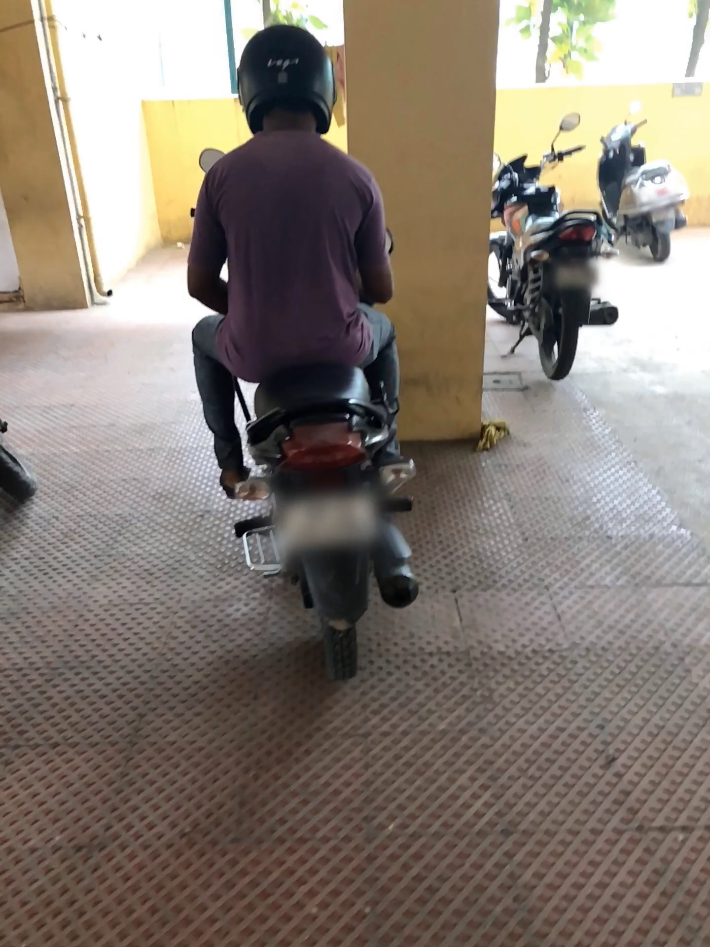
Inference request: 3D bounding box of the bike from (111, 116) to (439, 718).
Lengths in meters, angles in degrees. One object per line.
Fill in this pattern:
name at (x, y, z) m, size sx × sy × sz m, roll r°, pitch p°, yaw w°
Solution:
bike at (-0.125, -0.356, 2.410) m, size 0.631 × 1.063 × 1.655 m, roll -1°, pitch 32°, yaw 1°
